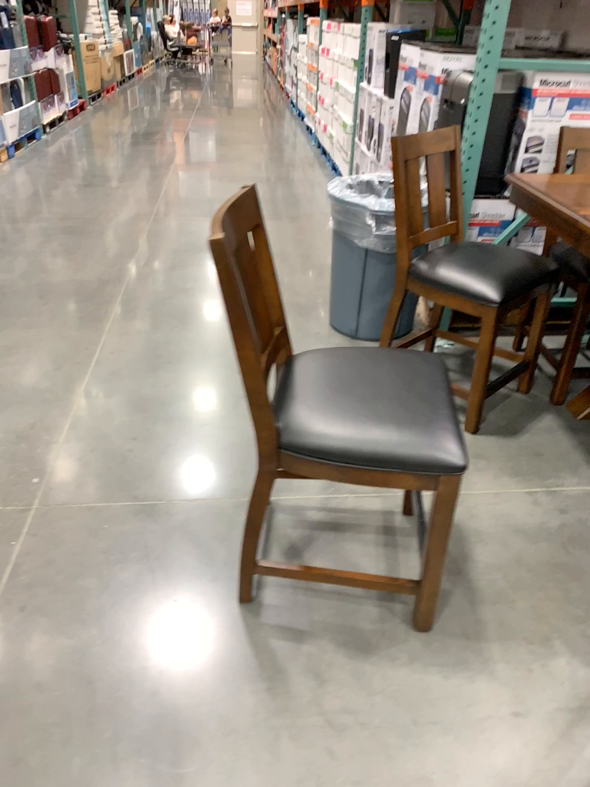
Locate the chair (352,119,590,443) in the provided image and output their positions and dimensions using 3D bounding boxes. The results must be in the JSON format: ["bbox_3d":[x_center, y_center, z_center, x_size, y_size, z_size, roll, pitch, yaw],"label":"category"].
[{"bbox_3d":[0.671,-0.461,2.360,0.546,1.021,0.589,-25,42,-37],"label":"chair"}]

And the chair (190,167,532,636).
[{"bbox_3d":[0.105,0.034,1.524,0.587,1.021,0.527,4,32,2],"label":"chair"}]

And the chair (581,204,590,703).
[{"bbox_3d":[1.248,0.133,1.432,0.654,0.952,0.601,5,32,3],"label":"chair"}]
